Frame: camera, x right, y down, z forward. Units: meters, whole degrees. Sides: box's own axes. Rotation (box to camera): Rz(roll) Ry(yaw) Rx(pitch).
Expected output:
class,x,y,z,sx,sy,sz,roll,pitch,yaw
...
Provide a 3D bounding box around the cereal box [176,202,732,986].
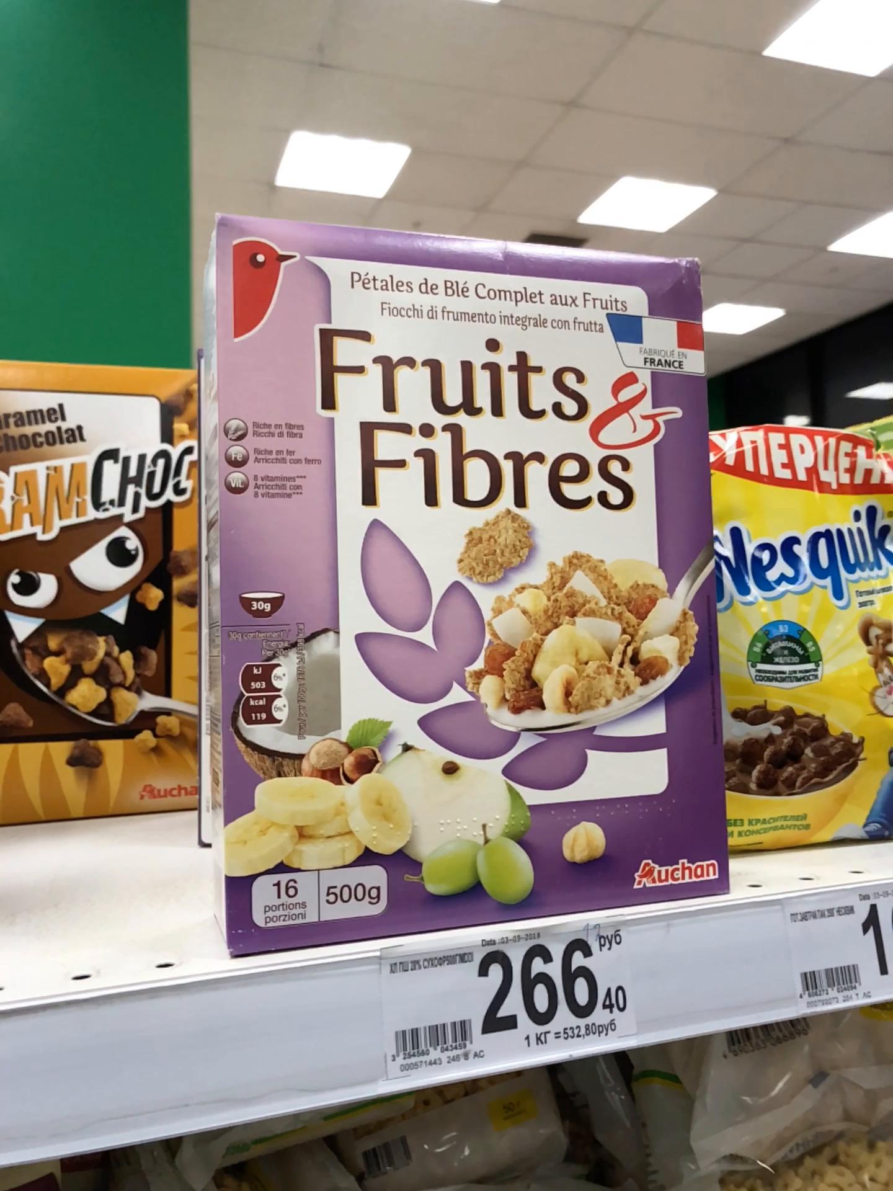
class,x,y,z,sx,sy,sz,roll,pitch,yaw
cereal box,0.001,-0.004,0.387,0.200,0.260,0.060,-1,-4,-18
